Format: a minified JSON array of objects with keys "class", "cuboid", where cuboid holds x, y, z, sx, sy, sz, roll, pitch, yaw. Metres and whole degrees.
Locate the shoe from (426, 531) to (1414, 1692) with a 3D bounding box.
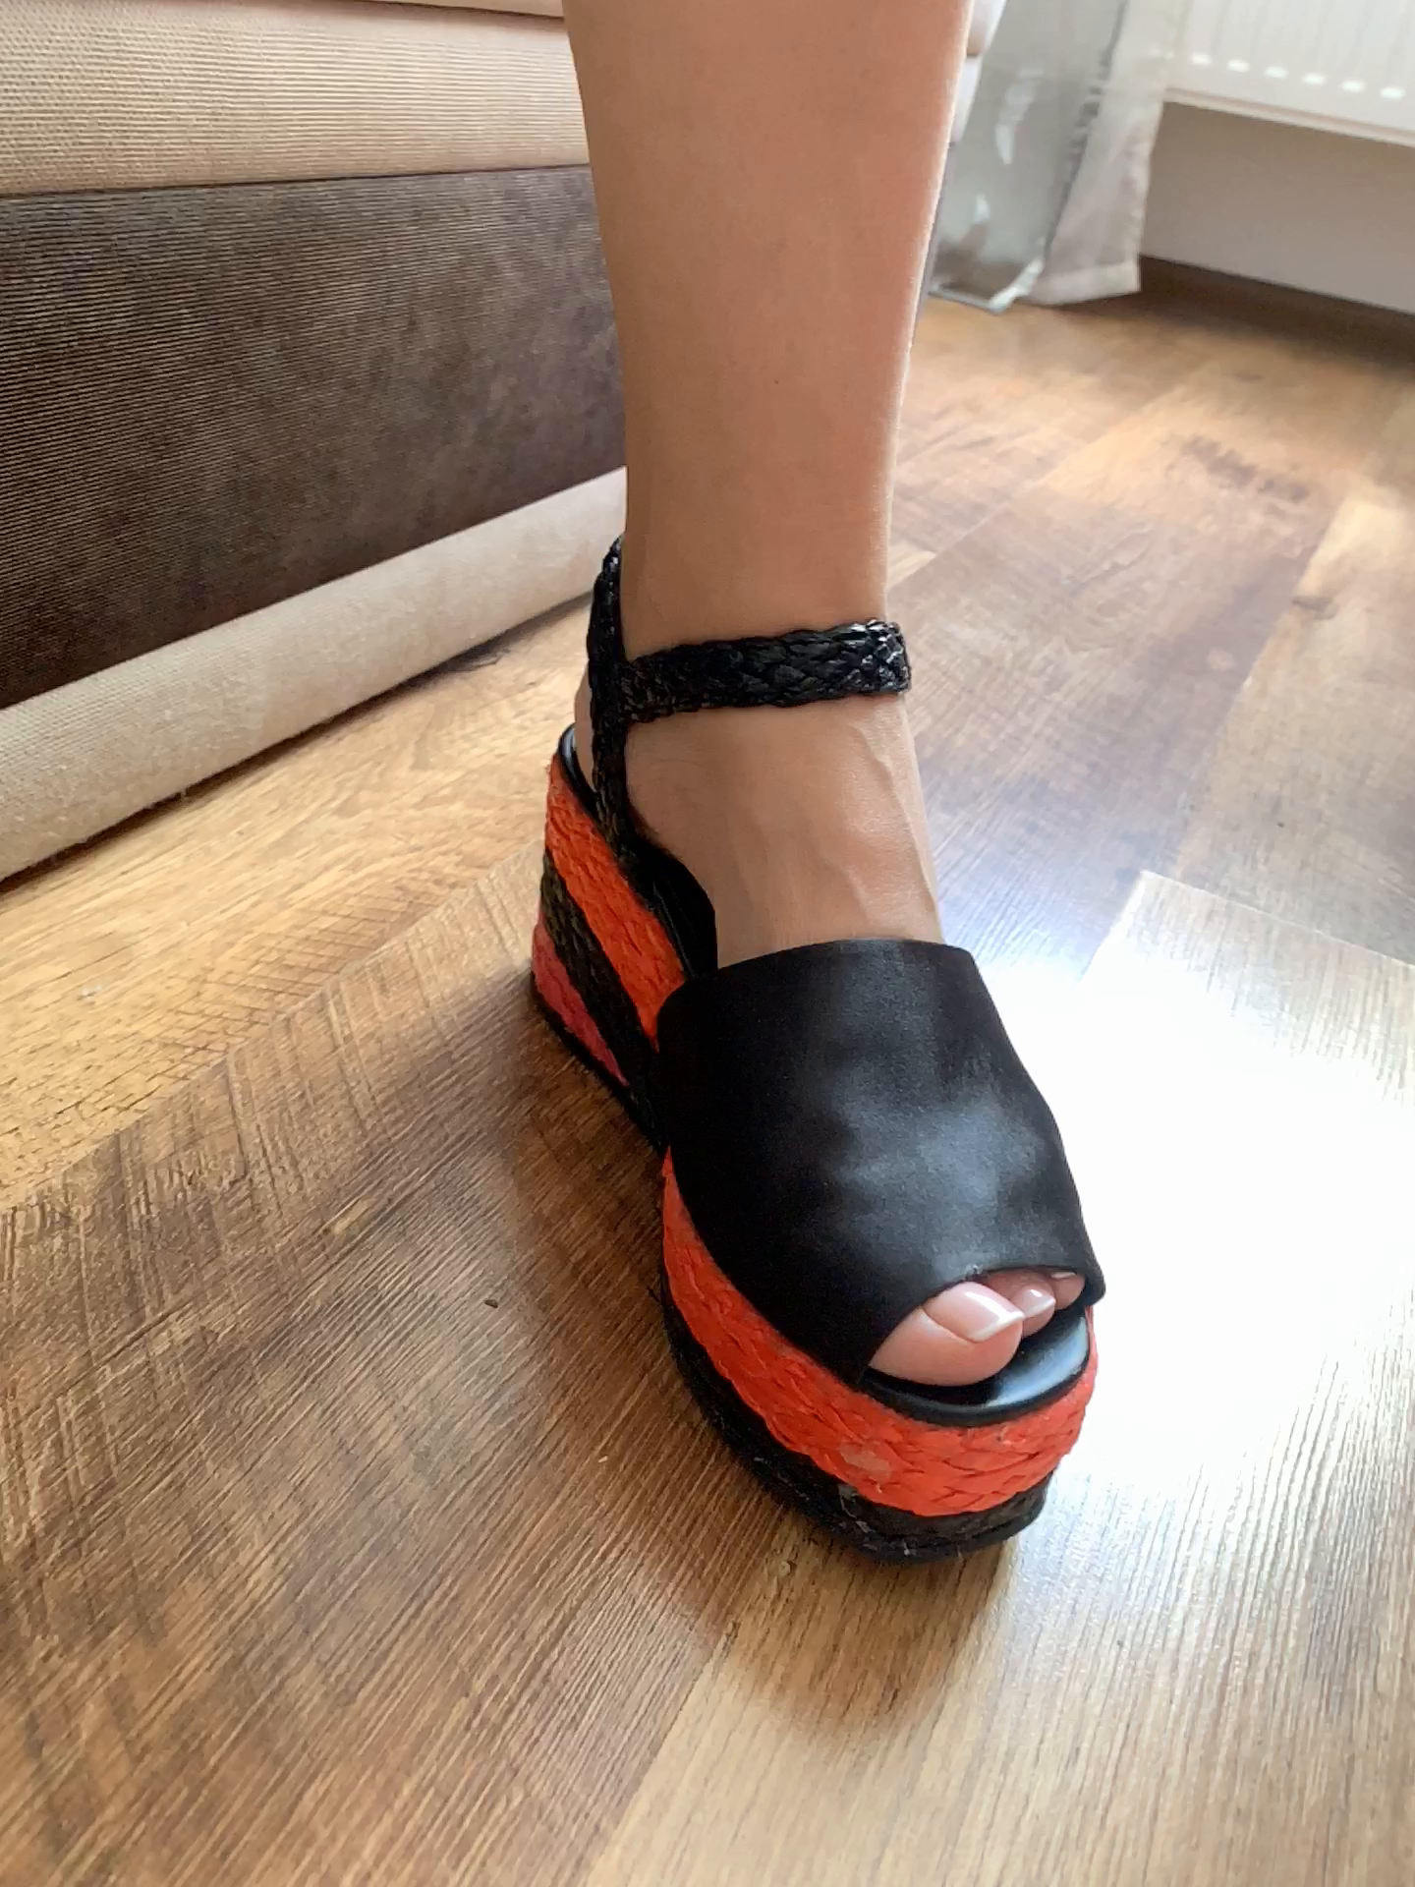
[{"class":"shoe","cuboid":[0.014,0.010,0.332,0.089,0.124,0.241,-6,36,-24]}]
